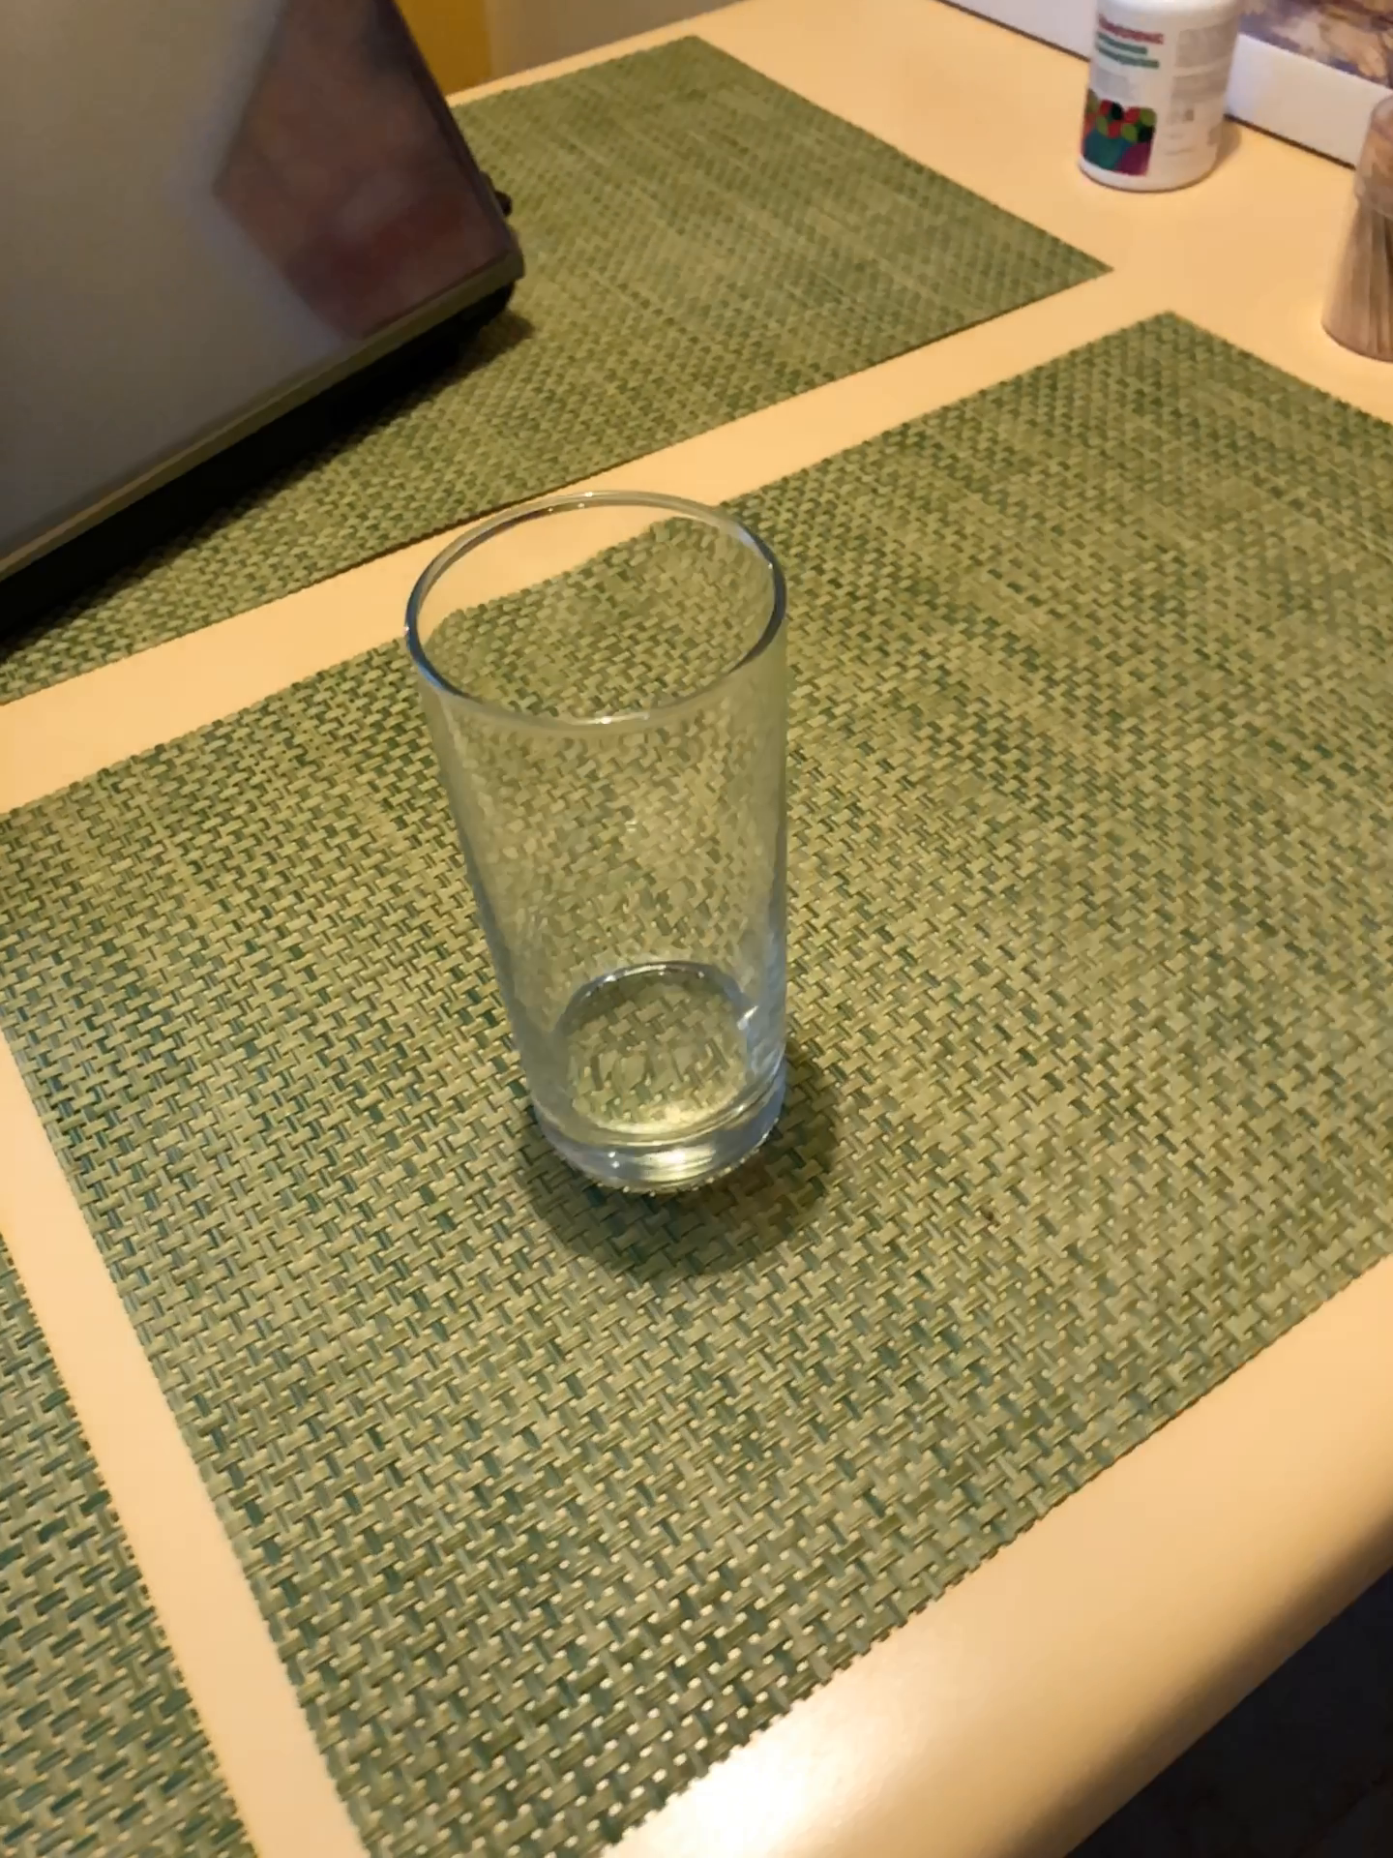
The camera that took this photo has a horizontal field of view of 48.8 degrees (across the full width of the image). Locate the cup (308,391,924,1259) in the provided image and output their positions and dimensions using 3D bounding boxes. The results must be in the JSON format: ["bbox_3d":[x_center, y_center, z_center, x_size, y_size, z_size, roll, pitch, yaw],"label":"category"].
[{"bbox_3d":[-0.010,-0.014,0.299,0.070,0.139,0.070,-2,49,2],"label":"cup"}]
